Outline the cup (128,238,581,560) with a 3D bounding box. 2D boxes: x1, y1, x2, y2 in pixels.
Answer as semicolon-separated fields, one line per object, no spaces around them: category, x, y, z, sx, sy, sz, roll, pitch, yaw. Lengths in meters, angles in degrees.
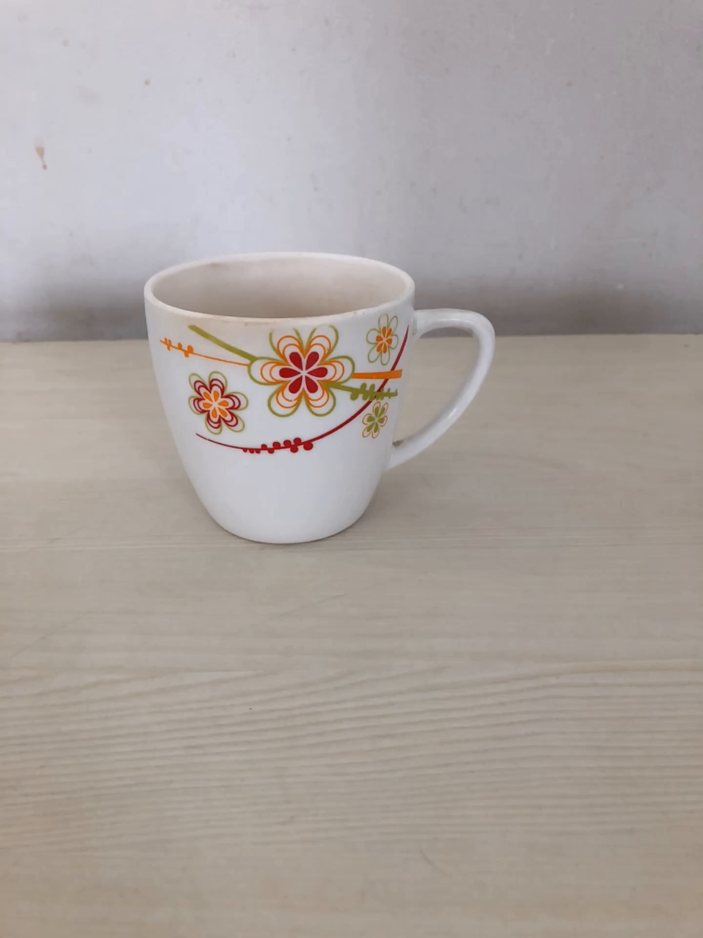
cup;-0.003;-0.026;0.235;0.110;0.070;0.070;-3;27;-8
